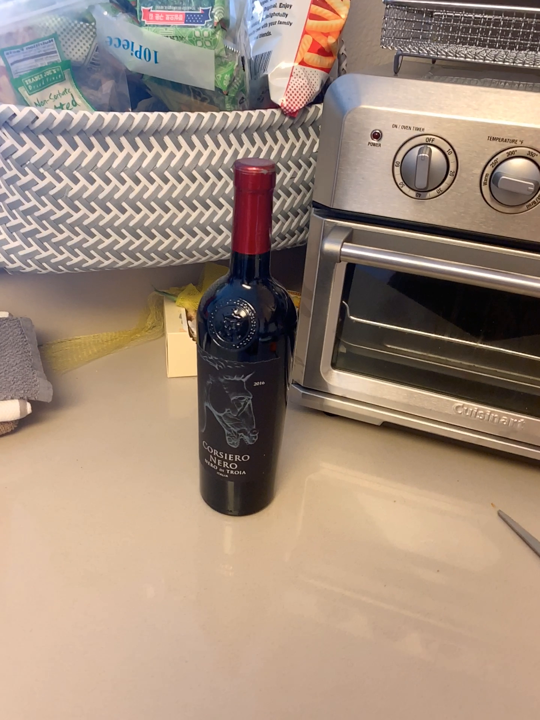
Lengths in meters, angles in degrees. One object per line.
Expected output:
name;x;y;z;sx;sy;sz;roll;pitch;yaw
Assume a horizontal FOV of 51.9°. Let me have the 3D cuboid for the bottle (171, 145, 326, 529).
bottle;-0.020;-0.006;0.421;0.080;0.278;0.070;12;31;12
